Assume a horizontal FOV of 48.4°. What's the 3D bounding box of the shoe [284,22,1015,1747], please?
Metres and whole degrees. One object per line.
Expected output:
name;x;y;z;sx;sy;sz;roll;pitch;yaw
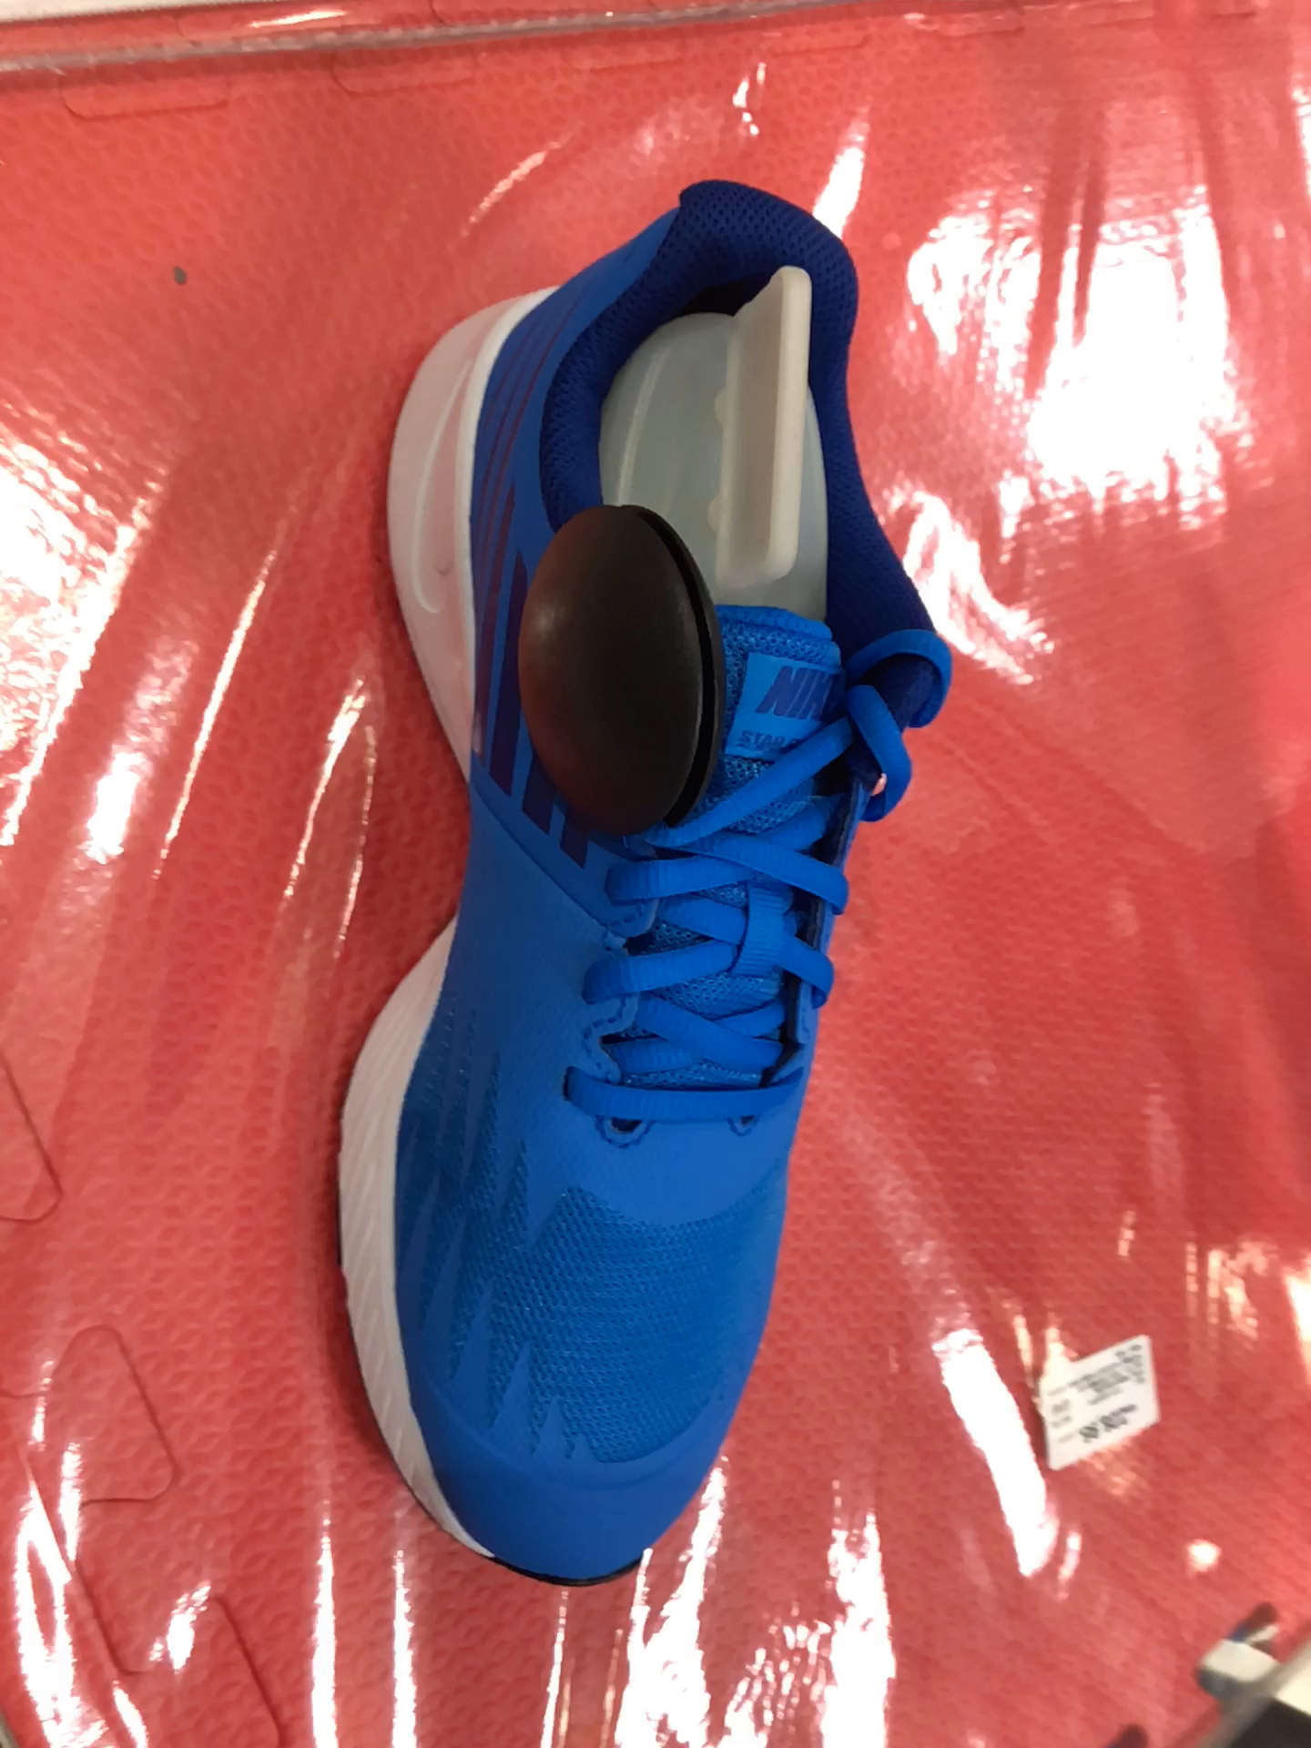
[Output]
shoe;-0.002;0.004;0.299;0.100;0.099;0.280;6;83;-30
